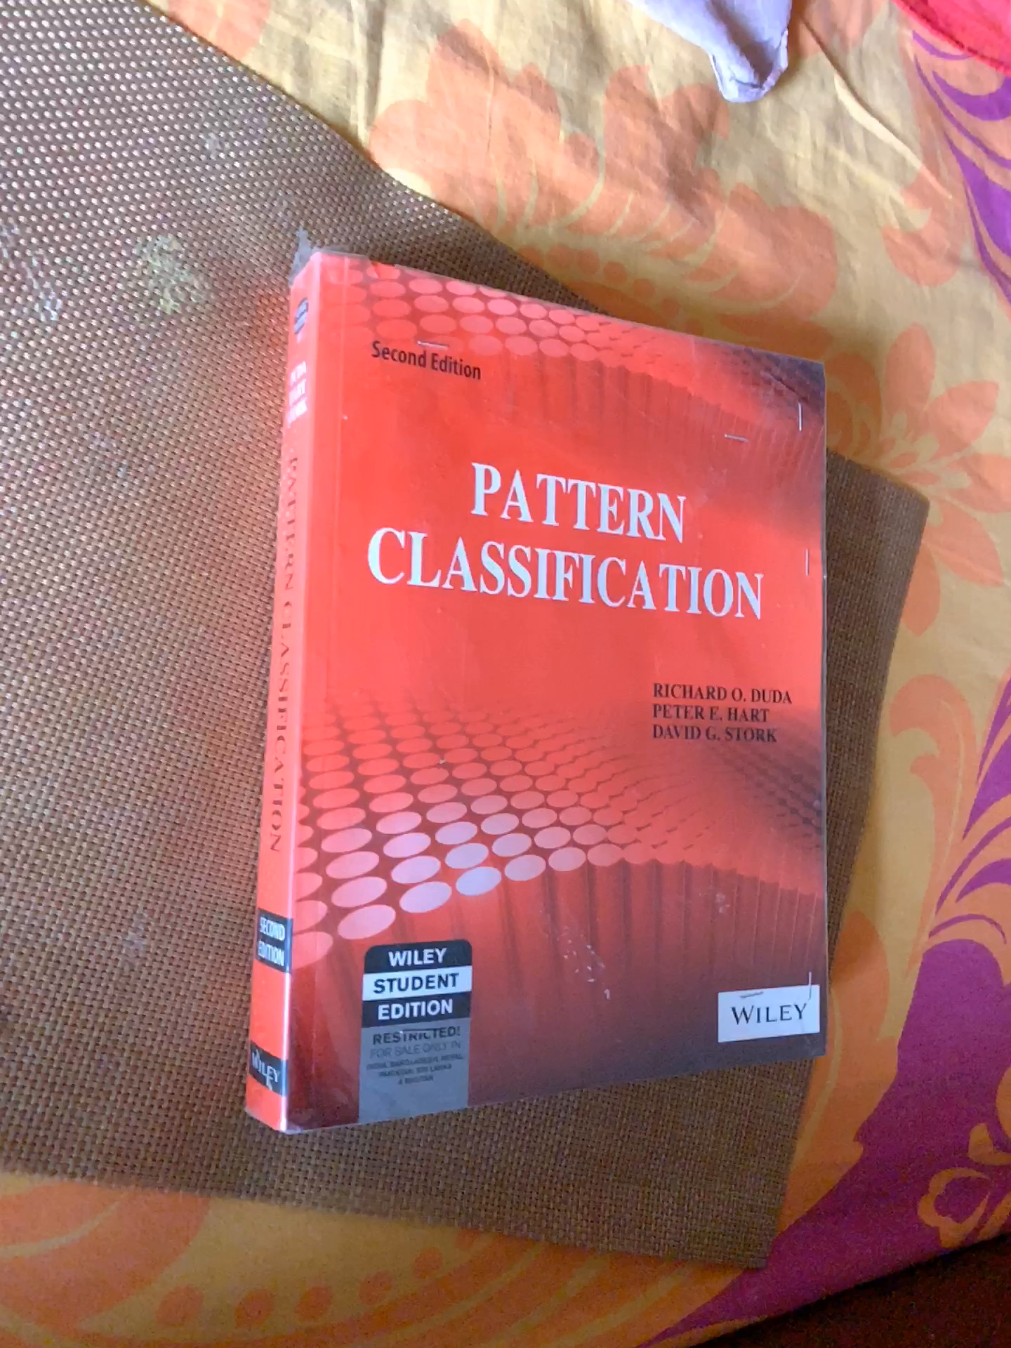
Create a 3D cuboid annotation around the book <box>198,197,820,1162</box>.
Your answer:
[{"bbox_3d":[0.012,0.004,0.309,0.181,0.040,0.230,4,84,-28],"label":"book"}]
